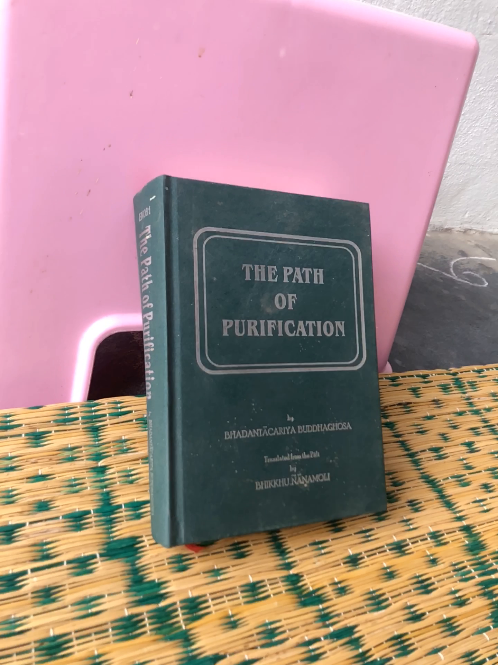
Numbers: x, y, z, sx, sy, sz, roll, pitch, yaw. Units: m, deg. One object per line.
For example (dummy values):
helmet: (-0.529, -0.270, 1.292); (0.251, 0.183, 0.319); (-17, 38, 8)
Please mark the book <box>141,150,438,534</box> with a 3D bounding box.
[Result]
book: (0.021, 0.006, 0.364); (0.160, 0.080, 0.210); (0, 78, -23)
